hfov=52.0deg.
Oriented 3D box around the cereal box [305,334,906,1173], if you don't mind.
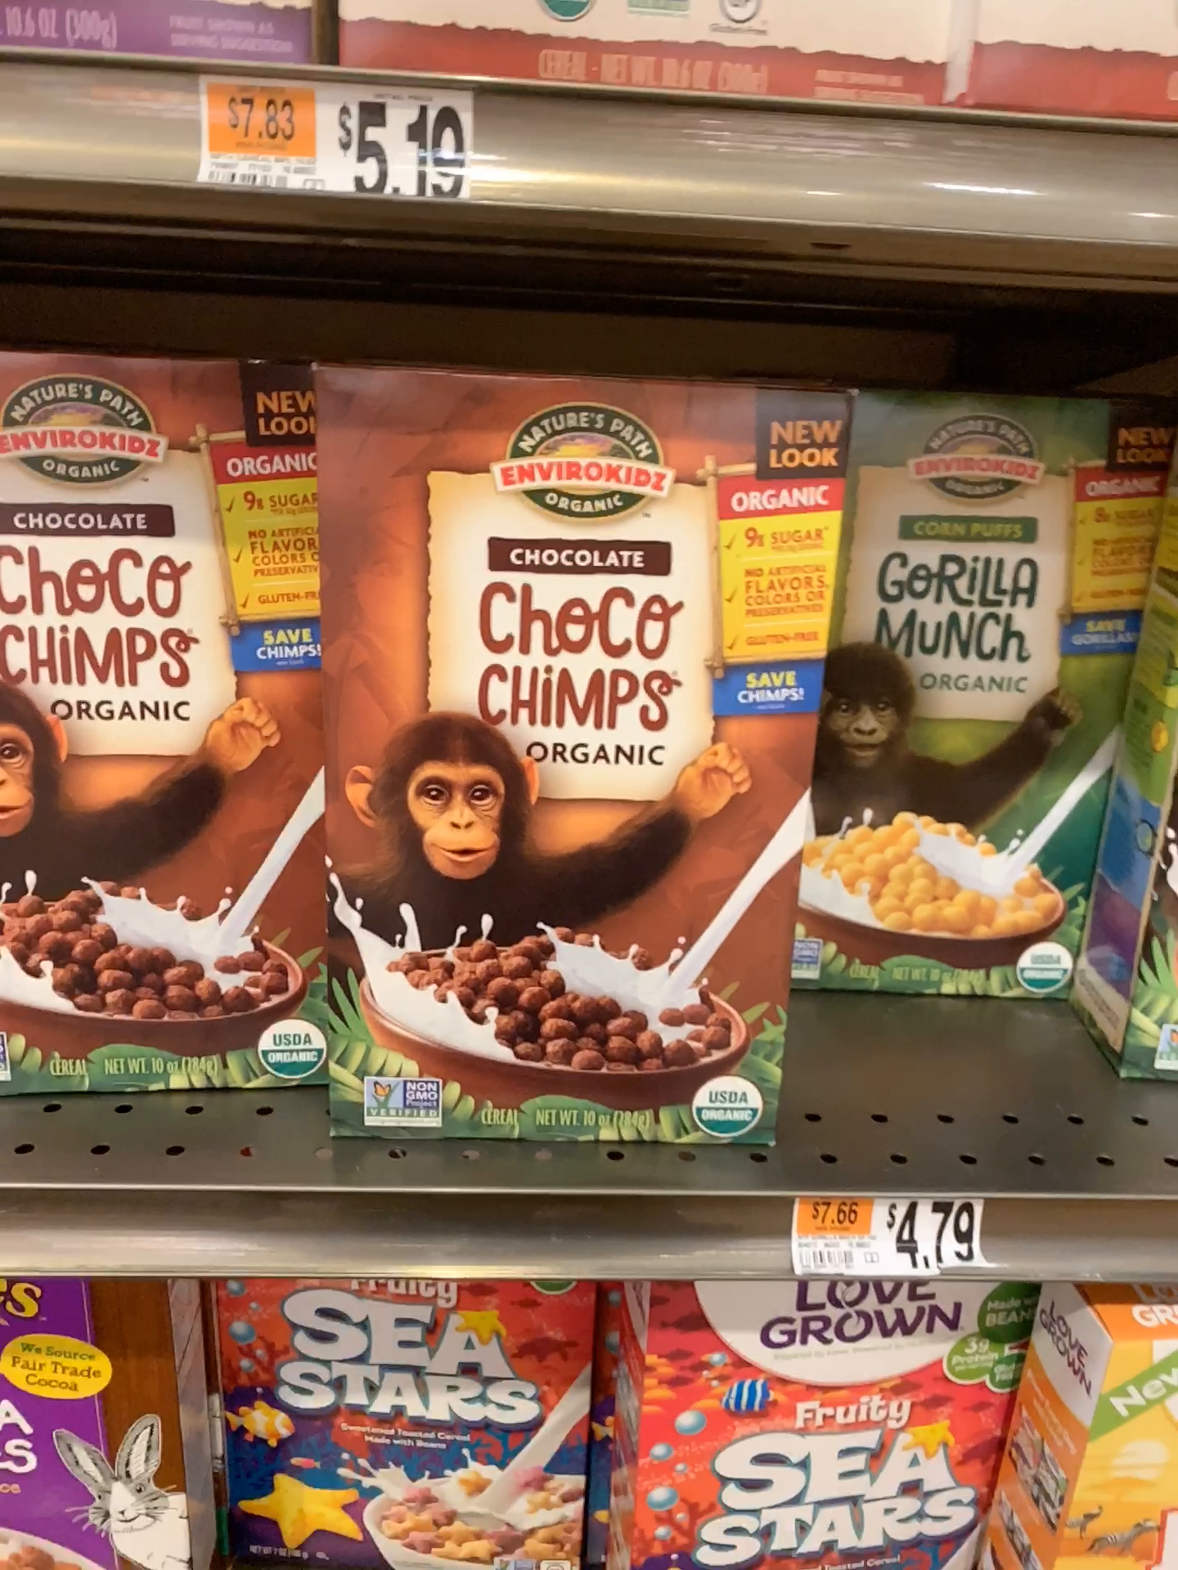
[{"bbox_3d":[-0.003,-0.004,0.410,0.170,0.269,0.060,2,18,-3],"label":"cereal box"}]
